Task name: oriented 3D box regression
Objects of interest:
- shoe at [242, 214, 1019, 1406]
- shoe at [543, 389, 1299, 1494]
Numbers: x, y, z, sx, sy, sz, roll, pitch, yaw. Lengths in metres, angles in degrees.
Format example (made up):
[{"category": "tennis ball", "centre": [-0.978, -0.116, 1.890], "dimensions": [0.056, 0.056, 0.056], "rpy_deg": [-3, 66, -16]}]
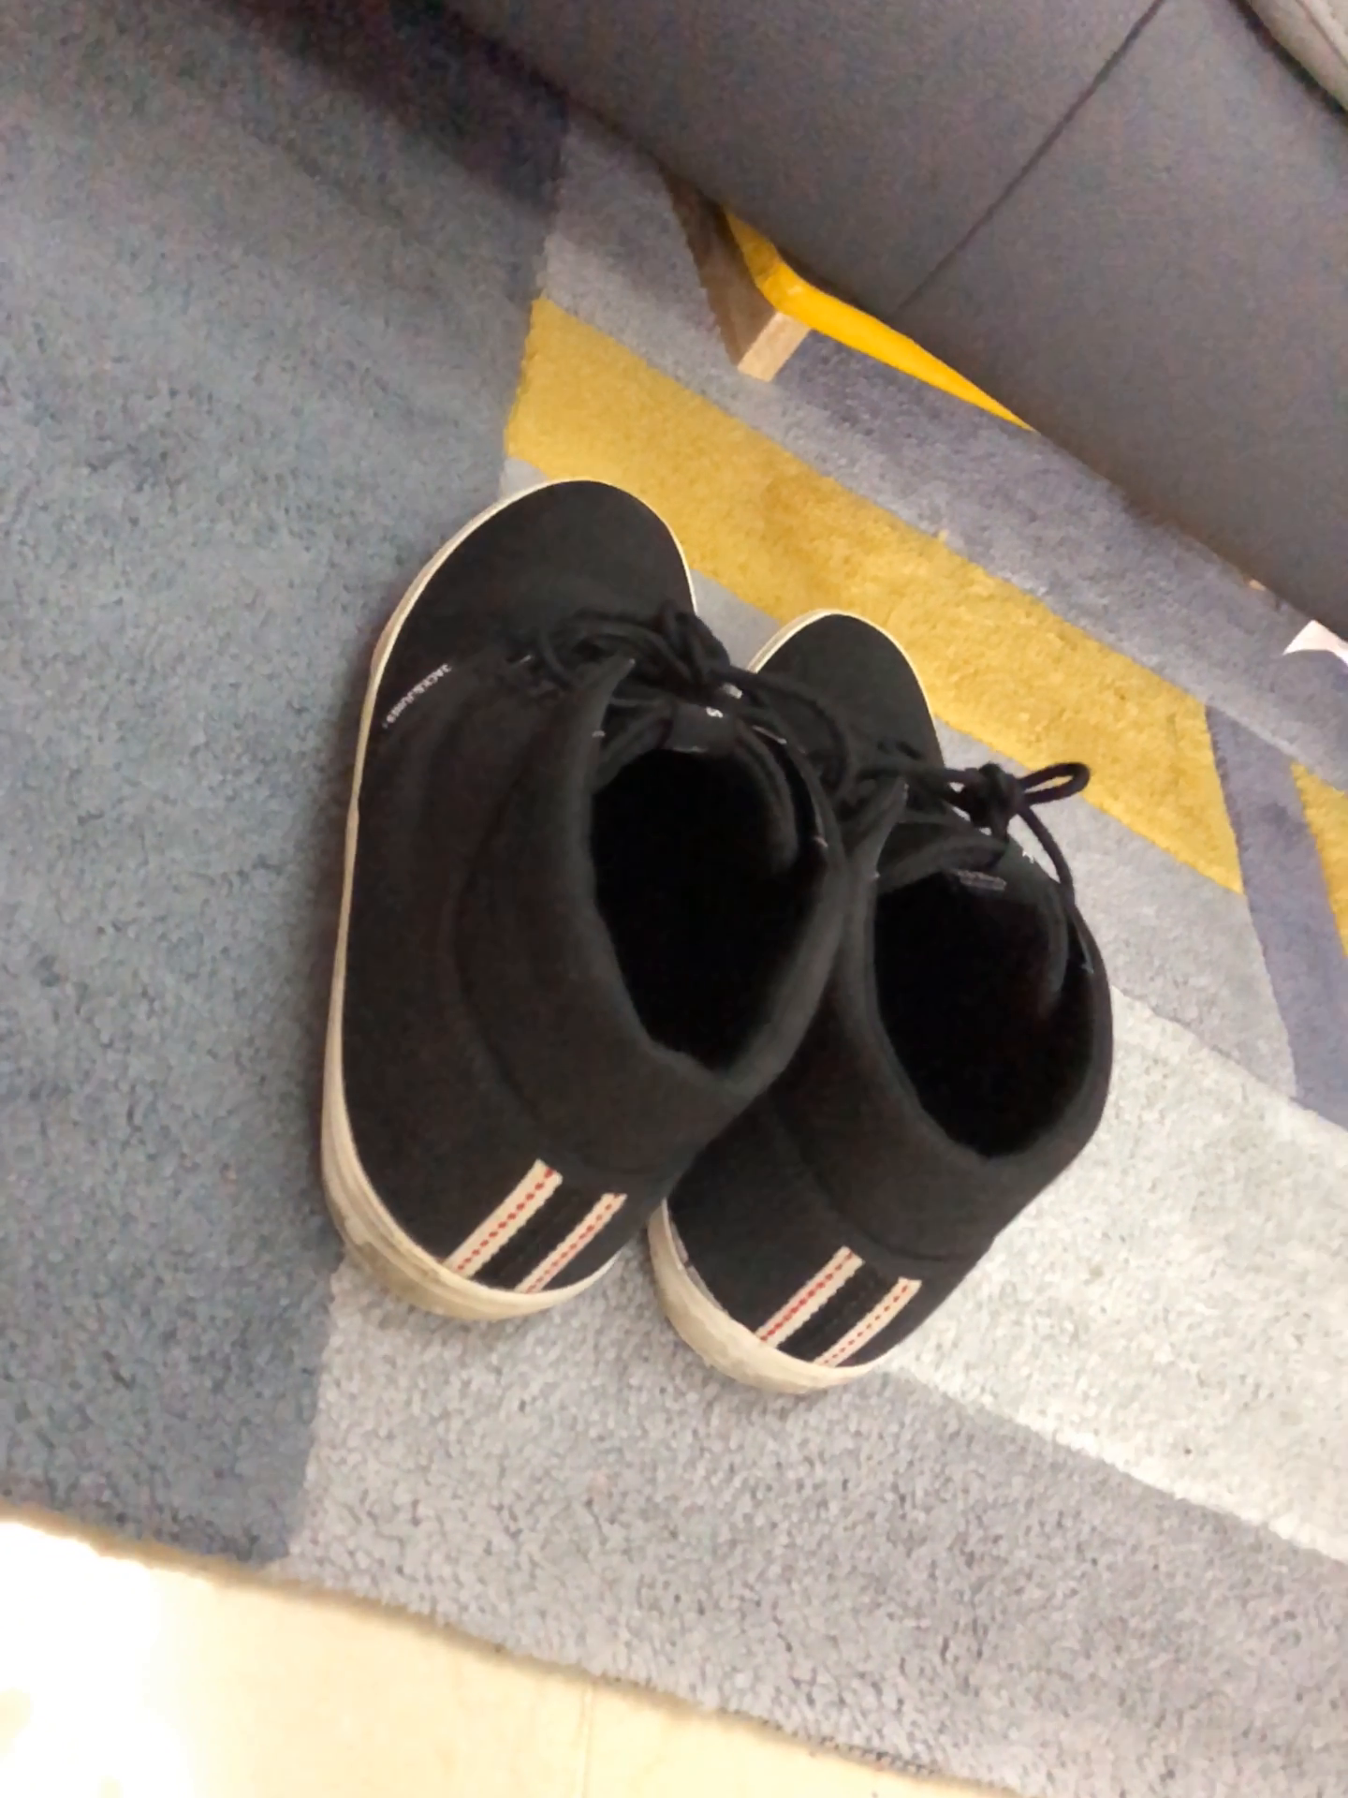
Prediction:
[{"category": "shoe", "centre": [-0.009, -0.037, 0.383], "dimensions": [0.110, 0.109, 0.282], "rpy_deg": [24, 44, -24]}, {"category": "shoe", "centre": [0.064, -0.002, 0.432], "dimensions": [0.110, 0.129, 0.282], "rpy_deg": [29, 42, -20]}]
